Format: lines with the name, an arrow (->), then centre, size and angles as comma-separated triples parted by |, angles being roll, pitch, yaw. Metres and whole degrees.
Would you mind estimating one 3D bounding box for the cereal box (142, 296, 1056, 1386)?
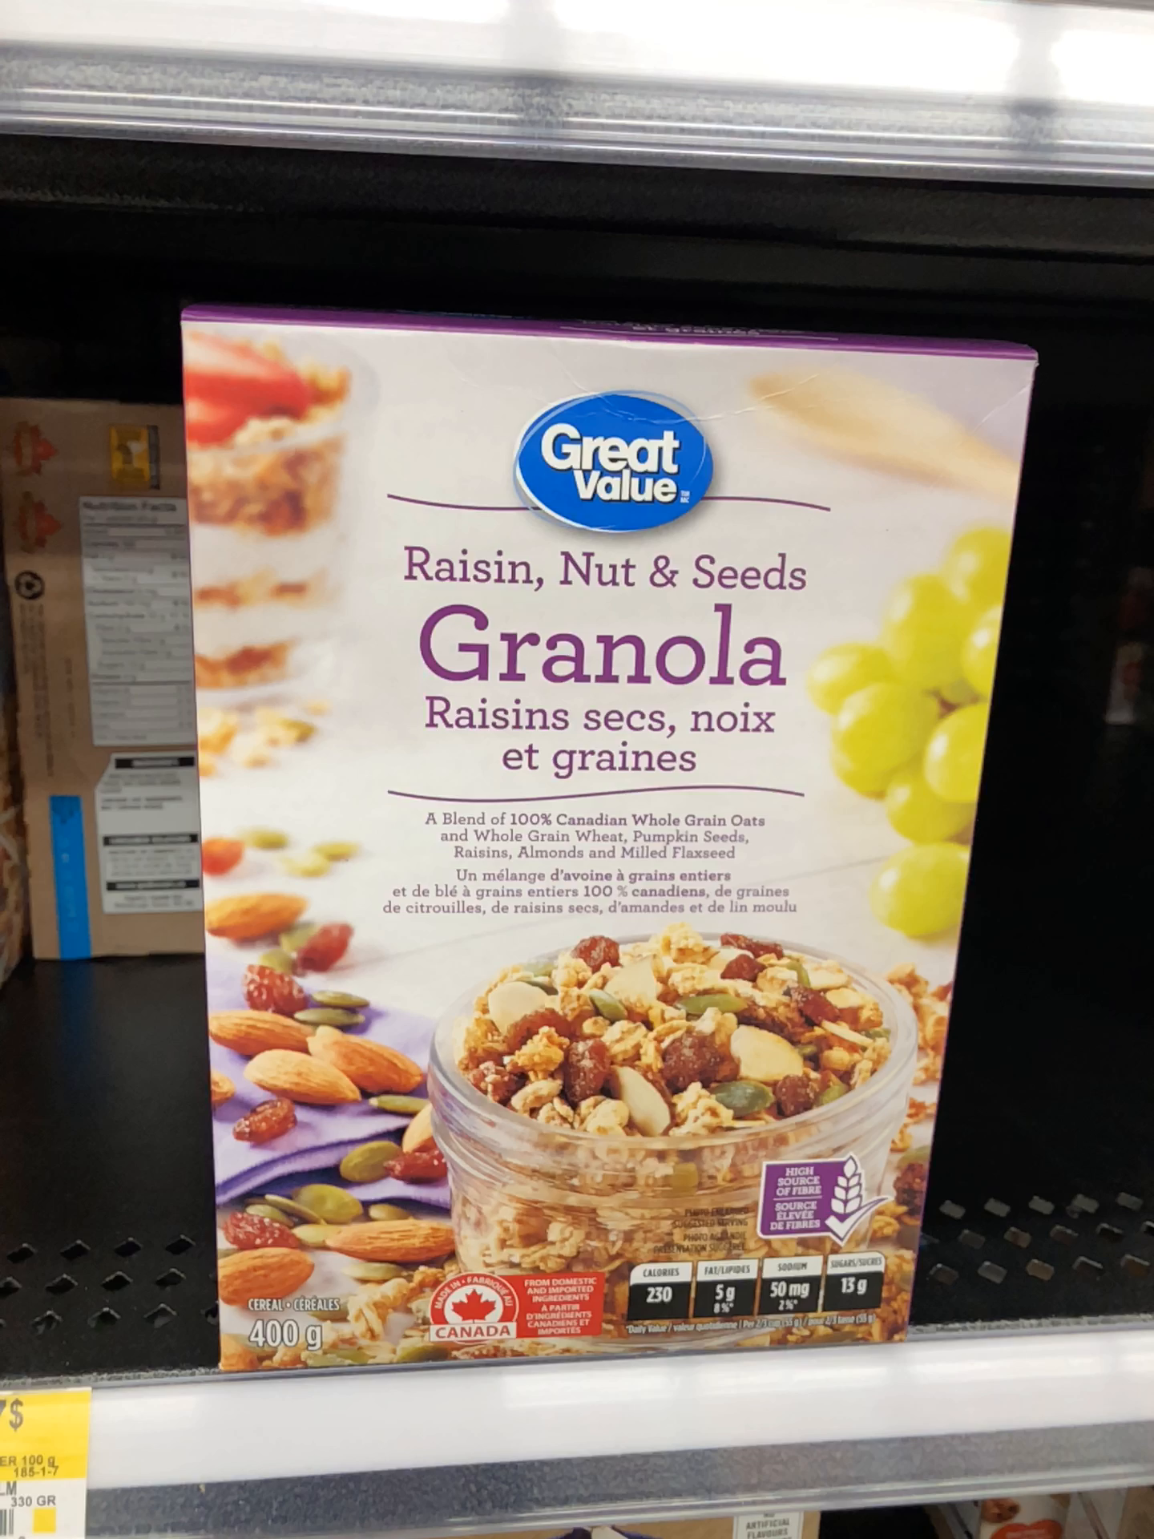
cereal box -> 0.001, 0.017, 0.282 | 0.160, 0.219, 0.060 | 0, 16, -6
